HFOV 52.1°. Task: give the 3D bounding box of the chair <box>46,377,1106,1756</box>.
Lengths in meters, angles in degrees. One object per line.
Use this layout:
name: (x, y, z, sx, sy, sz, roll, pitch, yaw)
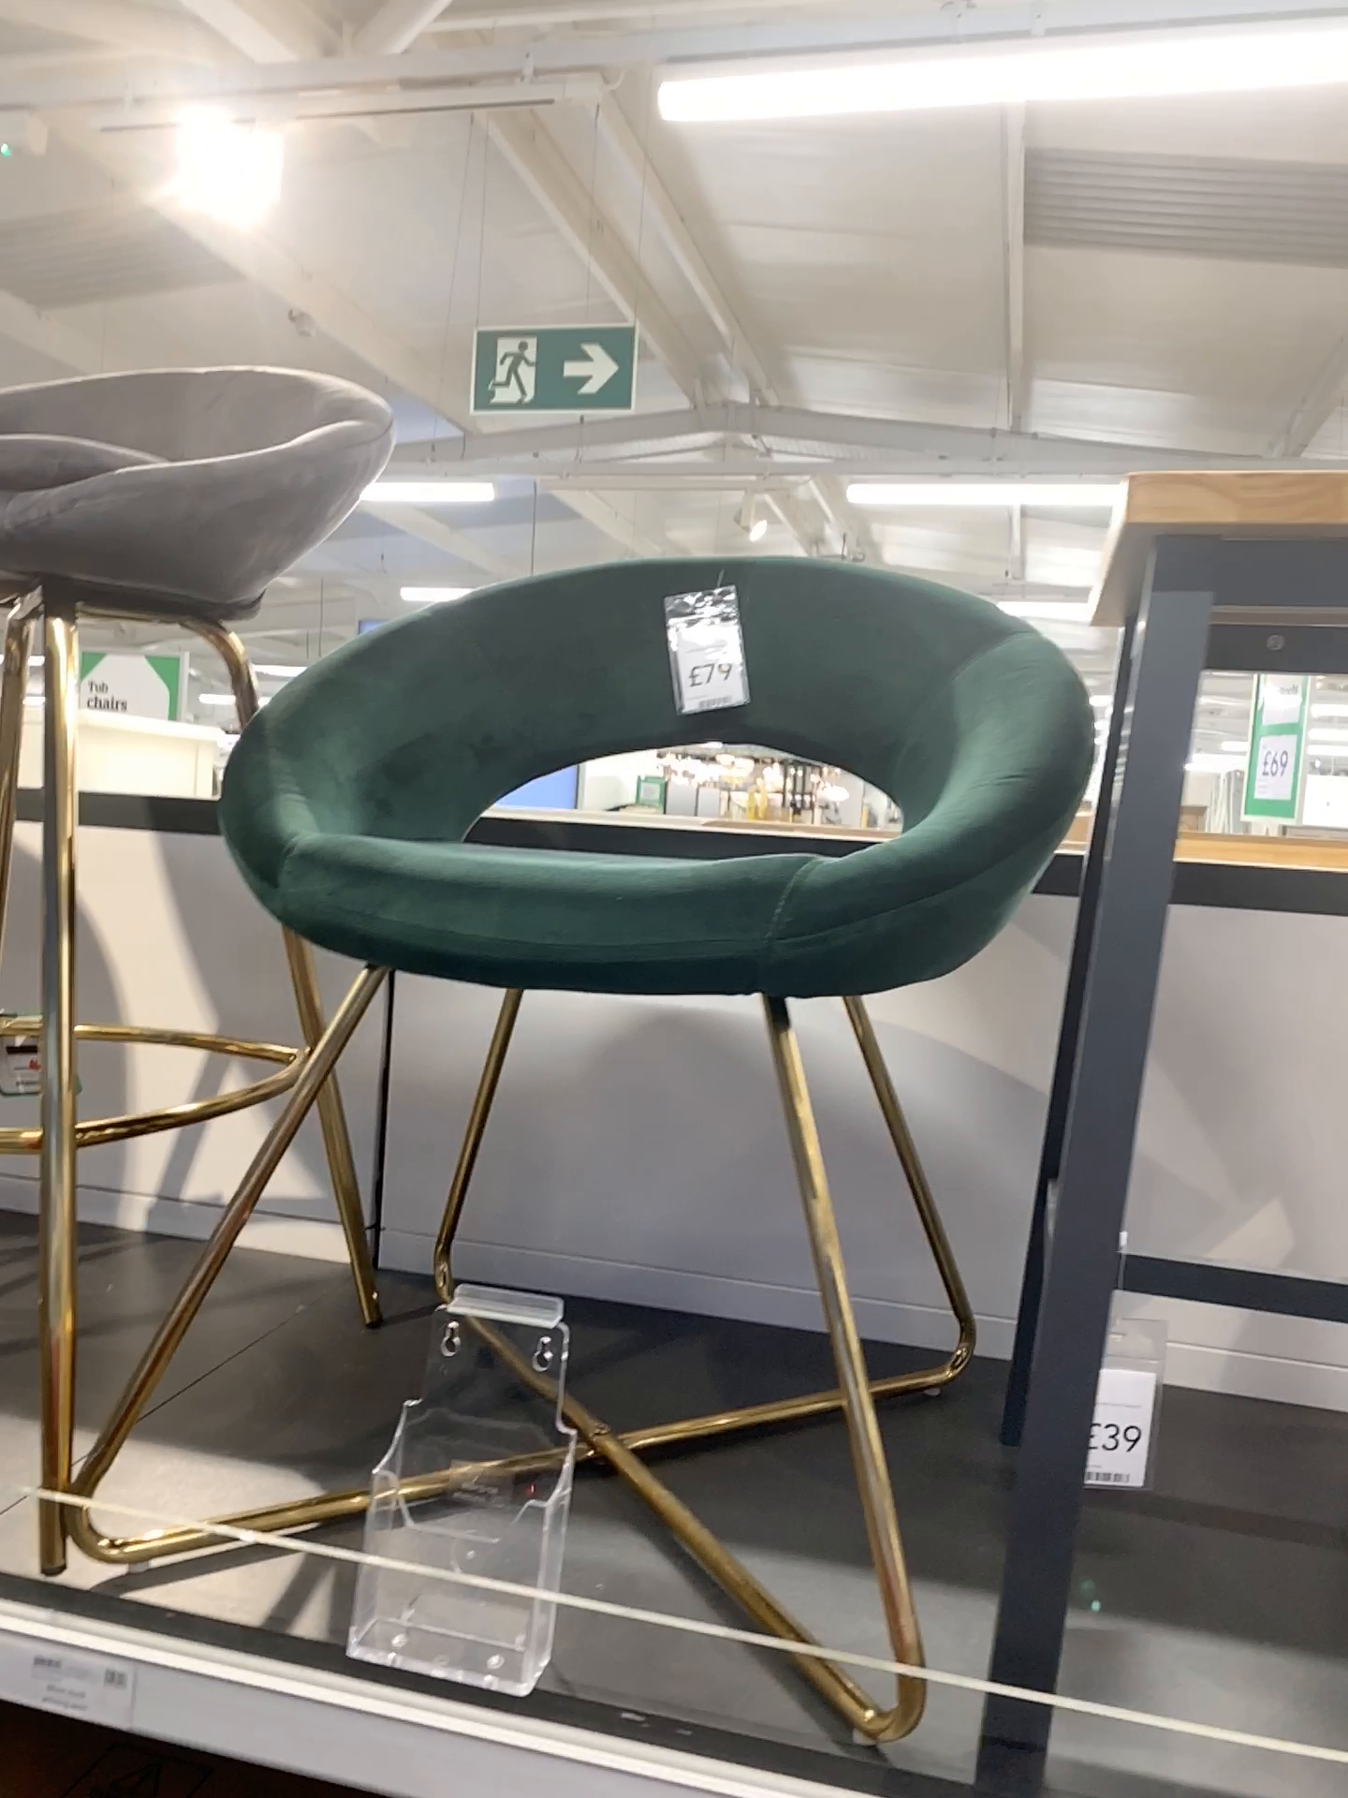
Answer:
chair: (-0.029, 0.064, 1.112, 0.629, 0.776, 0.554, 4, 3, 13)
